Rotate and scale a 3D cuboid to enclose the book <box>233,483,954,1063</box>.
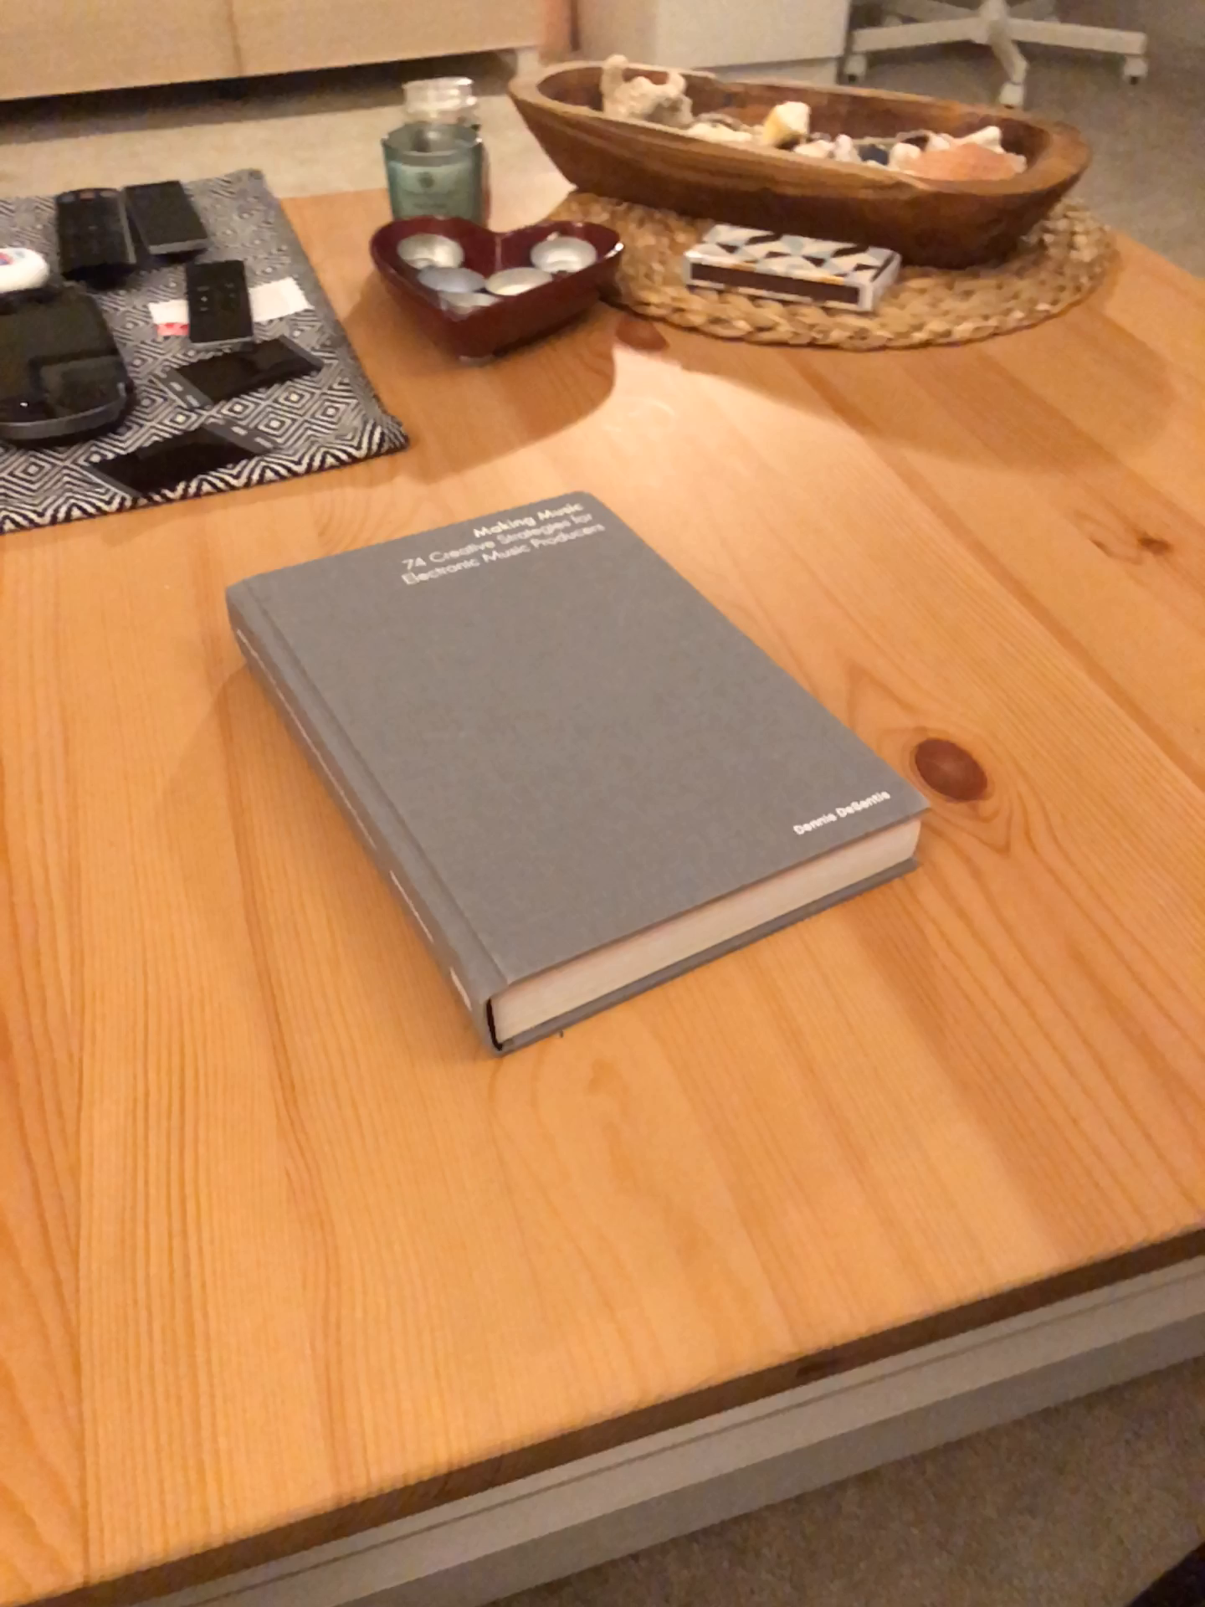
[{"bbox_3d":[-0.015,-0.031,0.479,0.167,0.030,0.228,-20,47,-21],"label":"book"}]
